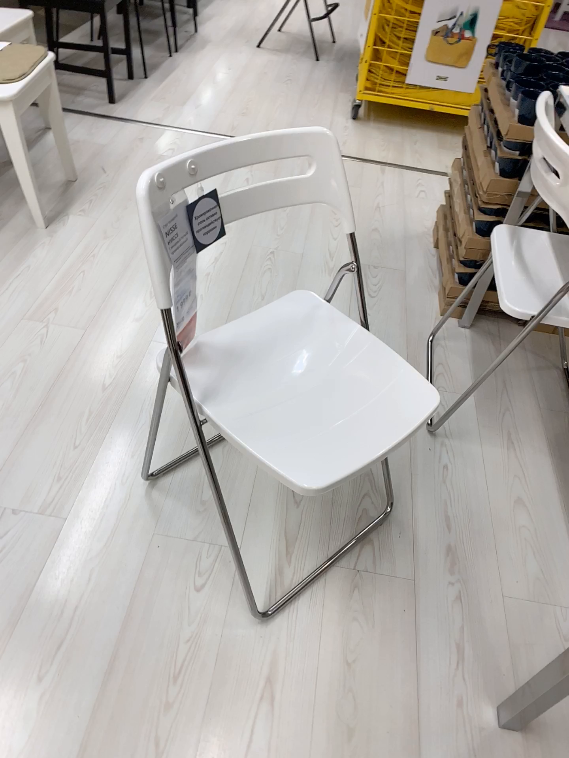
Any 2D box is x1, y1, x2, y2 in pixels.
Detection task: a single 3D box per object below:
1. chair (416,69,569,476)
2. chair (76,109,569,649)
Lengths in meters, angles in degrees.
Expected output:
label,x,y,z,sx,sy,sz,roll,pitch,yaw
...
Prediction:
label,x,y,z,sx,sy,sz,roll,pitch,yaw
chair,0.675,-0.242,1.412,0.510,0.726,0.533,10,44,1
chair,0.022,-0.006,1.079,0.512,0.716,0.501,-29,55,-33
